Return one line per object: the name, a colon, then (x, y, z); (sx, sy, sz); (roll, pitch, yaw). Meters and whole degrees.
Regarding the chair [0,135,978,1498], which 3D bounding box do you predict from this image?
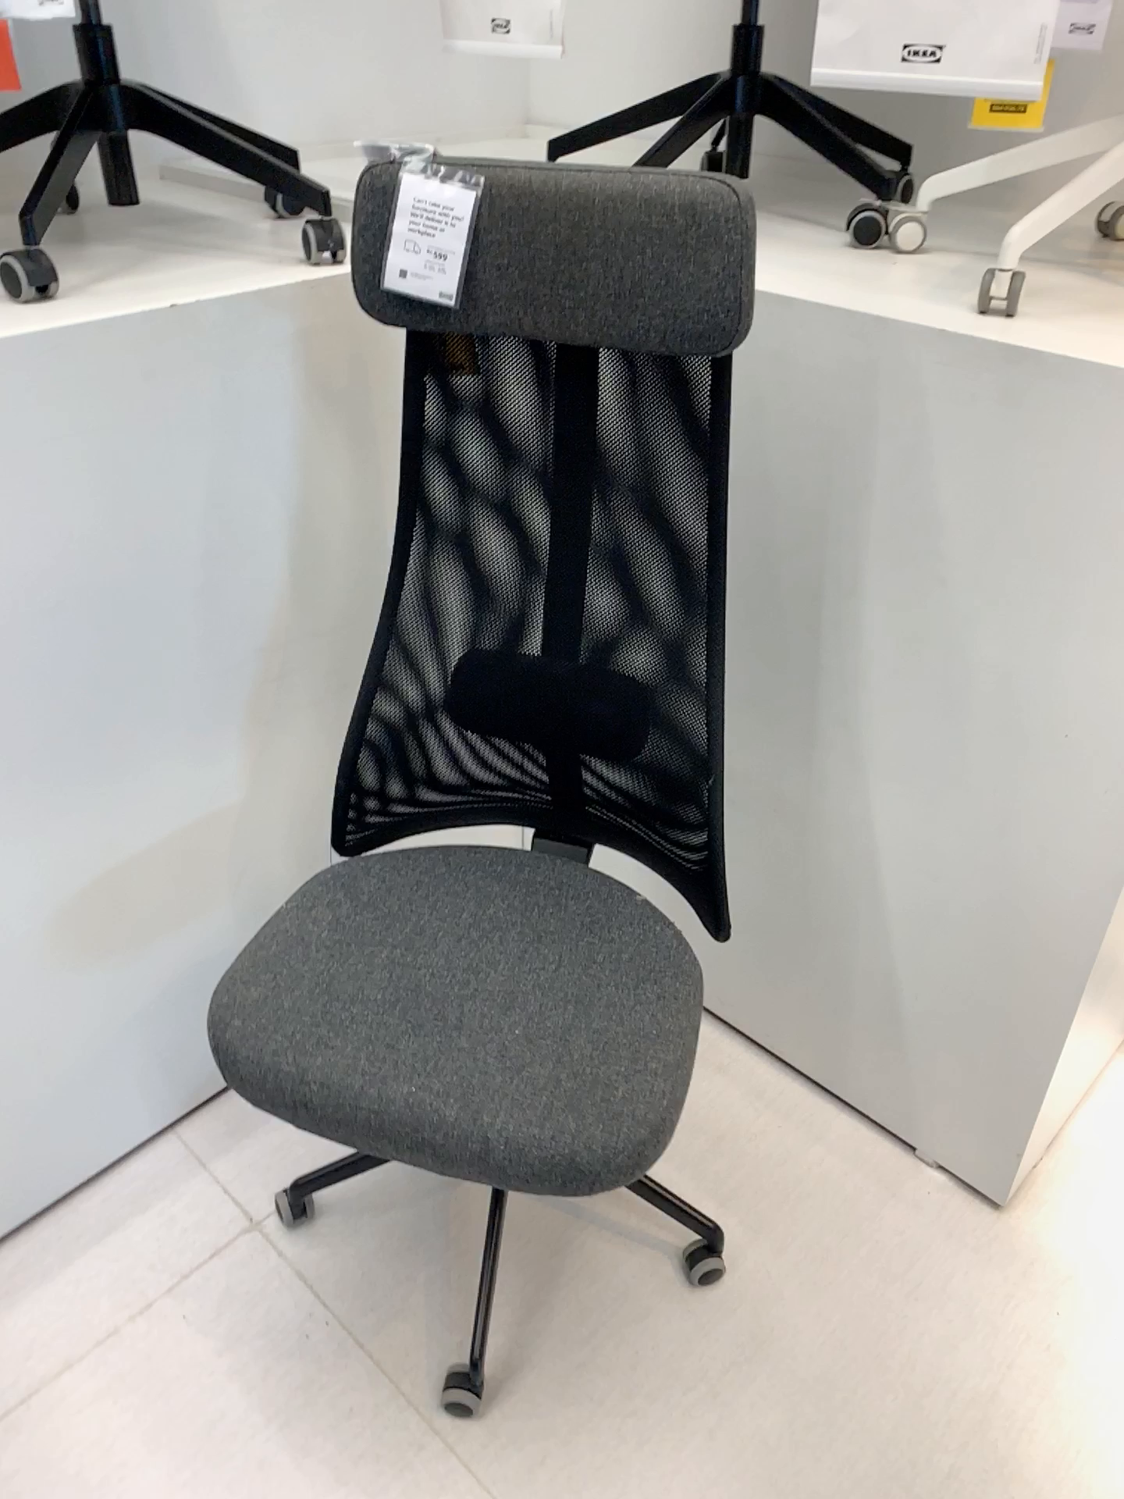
chair: (-0.053, 0.076, 1.285); (0.660, 1.264, 0.672); (15, 36, 19)
